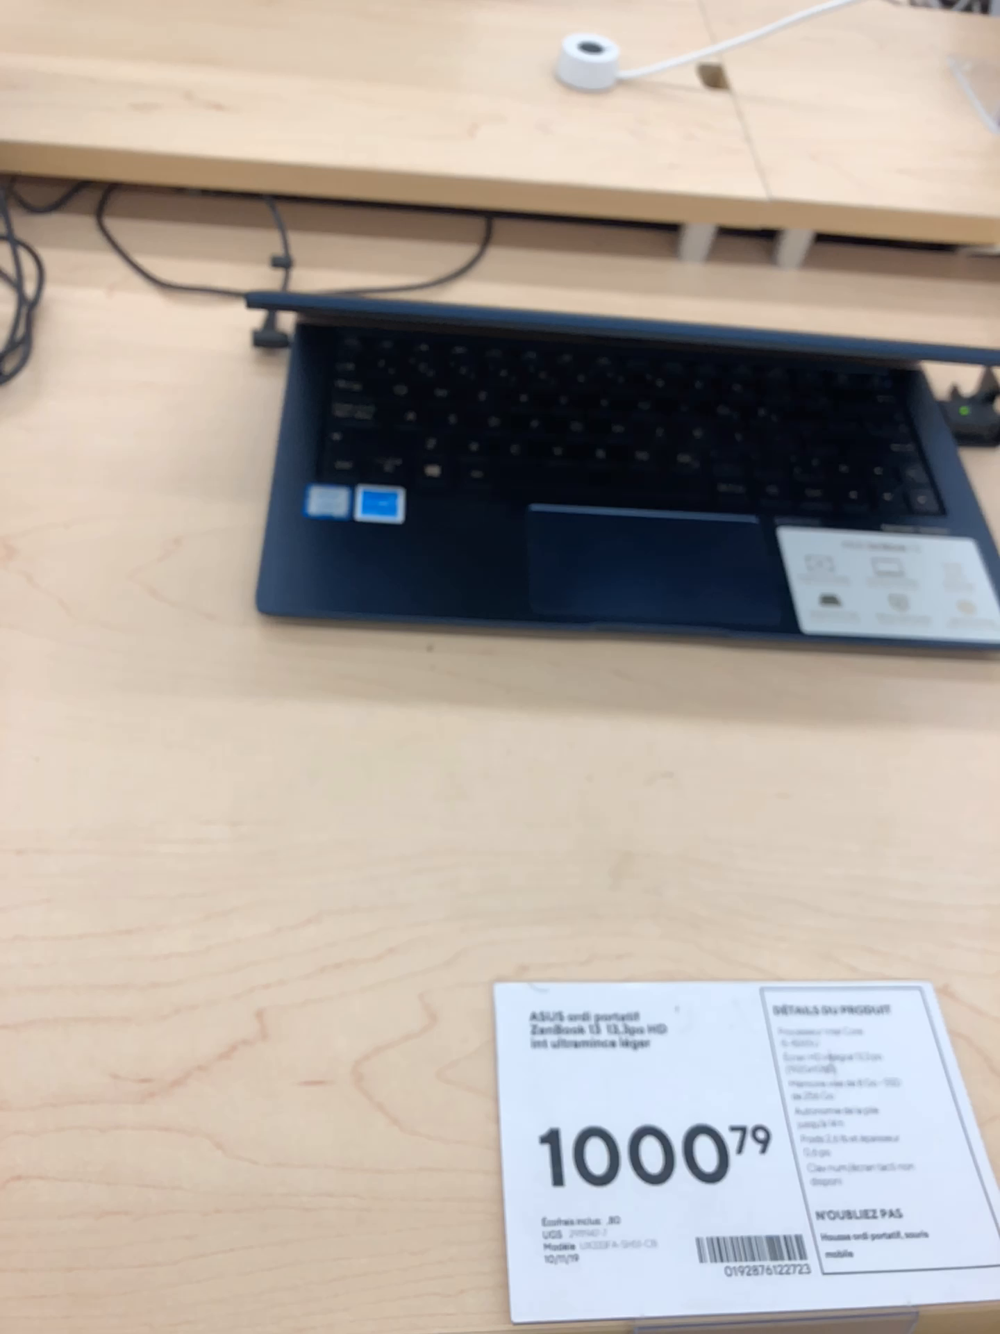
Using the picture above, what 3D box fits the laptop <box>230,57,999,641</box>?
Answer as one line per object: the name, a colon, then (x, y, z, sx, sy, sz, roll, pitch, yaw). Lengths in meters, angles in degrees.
laptop: (0.062, -0.126, 0.441, 0.299, 0.108, 0.196, 3, 52, -6)
